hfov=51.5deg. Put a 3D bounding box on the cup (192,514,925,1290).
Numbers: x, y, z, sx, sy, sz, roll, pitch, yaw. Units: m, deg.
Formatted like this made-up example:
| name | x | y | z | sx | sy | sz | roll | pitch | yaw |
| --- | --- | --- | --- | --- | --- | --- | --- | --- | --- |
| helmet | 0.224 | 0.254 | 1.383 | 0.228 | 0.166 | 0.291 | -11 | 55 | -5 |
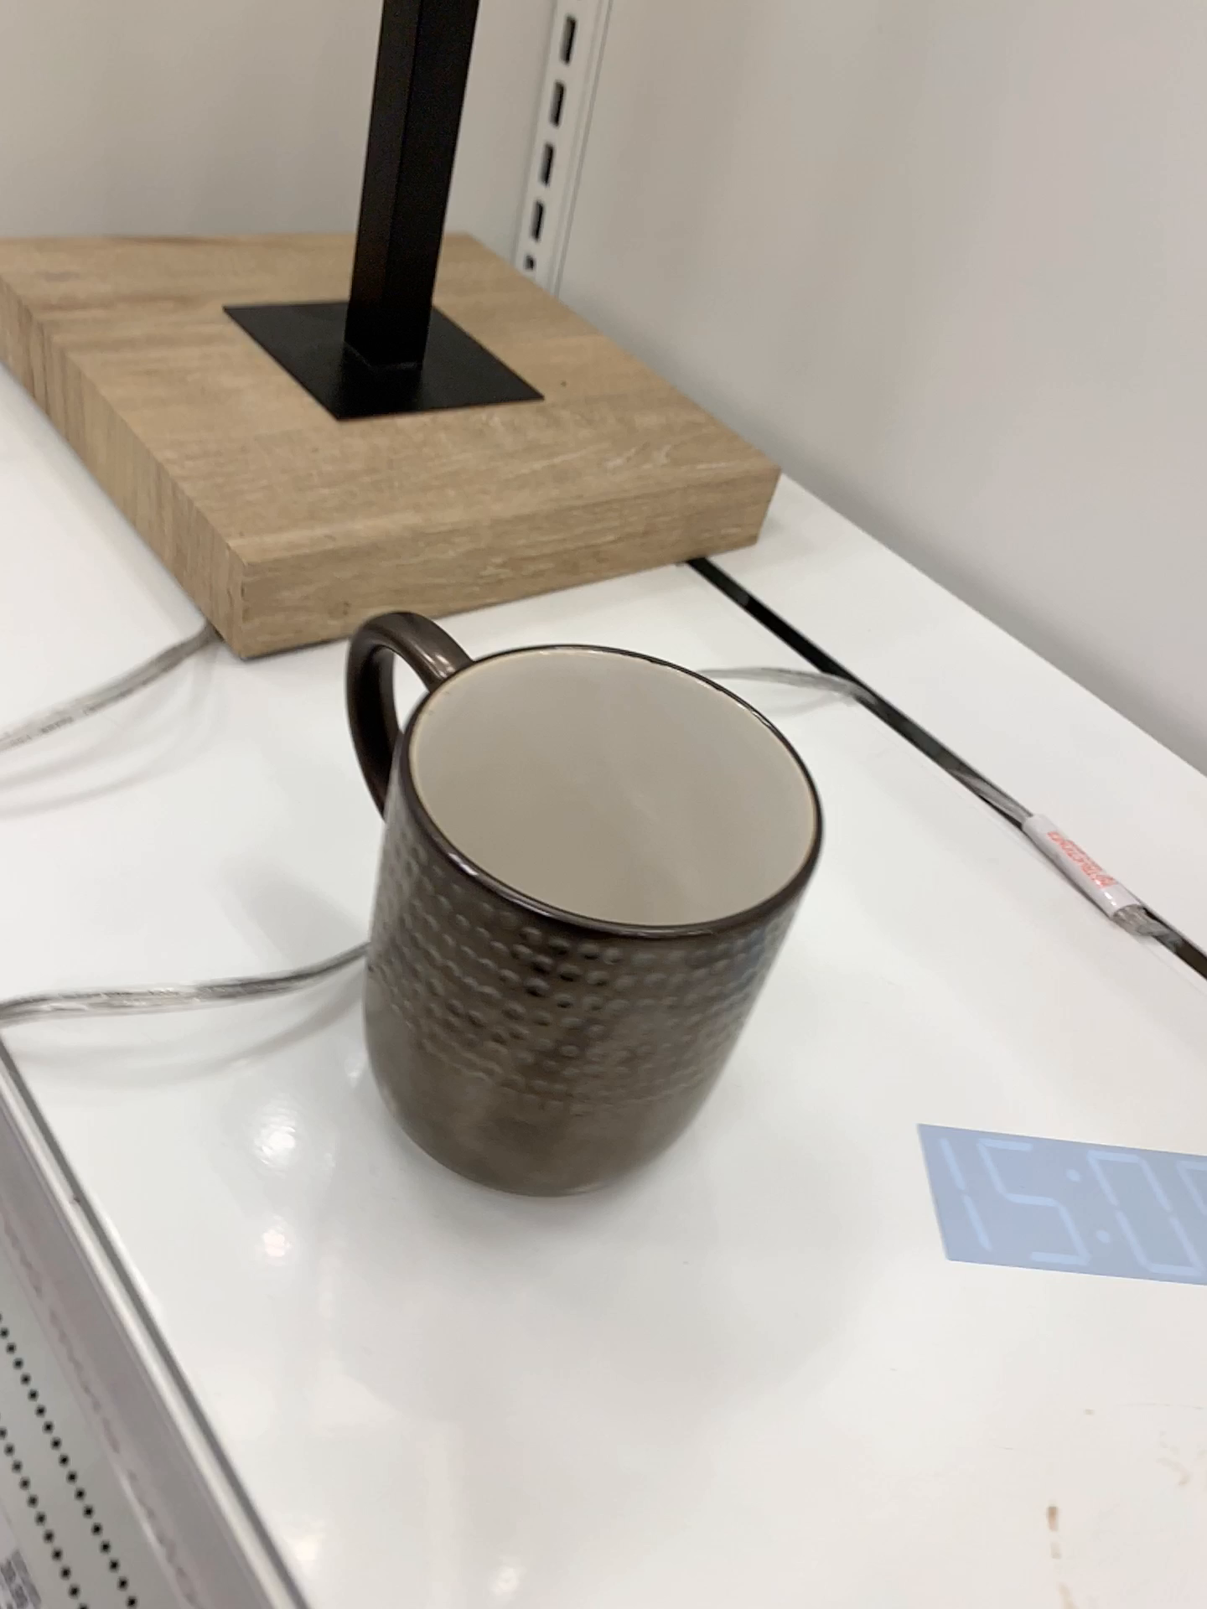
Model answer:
| name | x | y | z | sx | sy | sz | roll | pitch | yaw |
| --- | --- | --- | --- | --- | --- | --- | --- | --- | --- |
| cup | -0.019 | 0.015 | 0.295 | 0.095 | 0.093 | 0.131 | -26 | 57 | -38 |
